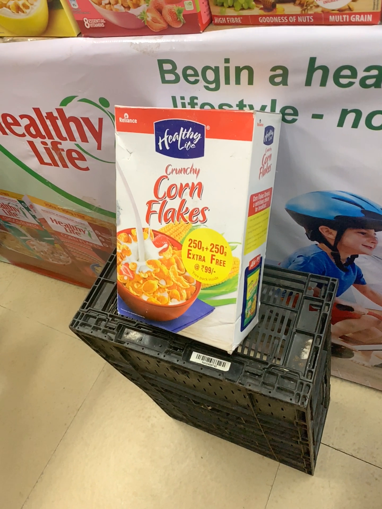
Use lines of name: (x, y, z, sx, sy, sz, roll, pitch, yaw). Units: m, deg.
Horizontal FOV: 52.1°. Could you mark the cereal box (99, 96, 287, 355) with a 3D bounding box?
cereal box: (-0.008, -0.047, 0.504, 0.201, 0.280, 0.100, 12, 18, 27)
